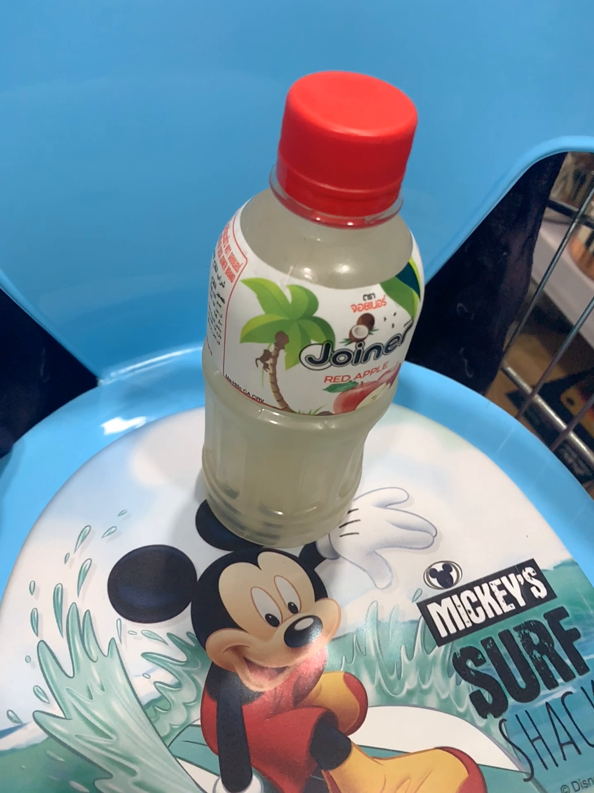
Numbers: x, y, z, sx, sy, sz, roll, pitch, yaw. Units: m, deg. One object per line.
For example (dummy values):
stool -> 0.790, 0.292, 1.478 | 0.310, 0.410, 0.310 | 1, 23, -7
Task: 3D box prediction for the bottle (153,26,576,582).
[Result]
bottle -> 0.005, -0.015, 0.183 | 0.070, 0.150, 0.060 | -12, 50, -16
